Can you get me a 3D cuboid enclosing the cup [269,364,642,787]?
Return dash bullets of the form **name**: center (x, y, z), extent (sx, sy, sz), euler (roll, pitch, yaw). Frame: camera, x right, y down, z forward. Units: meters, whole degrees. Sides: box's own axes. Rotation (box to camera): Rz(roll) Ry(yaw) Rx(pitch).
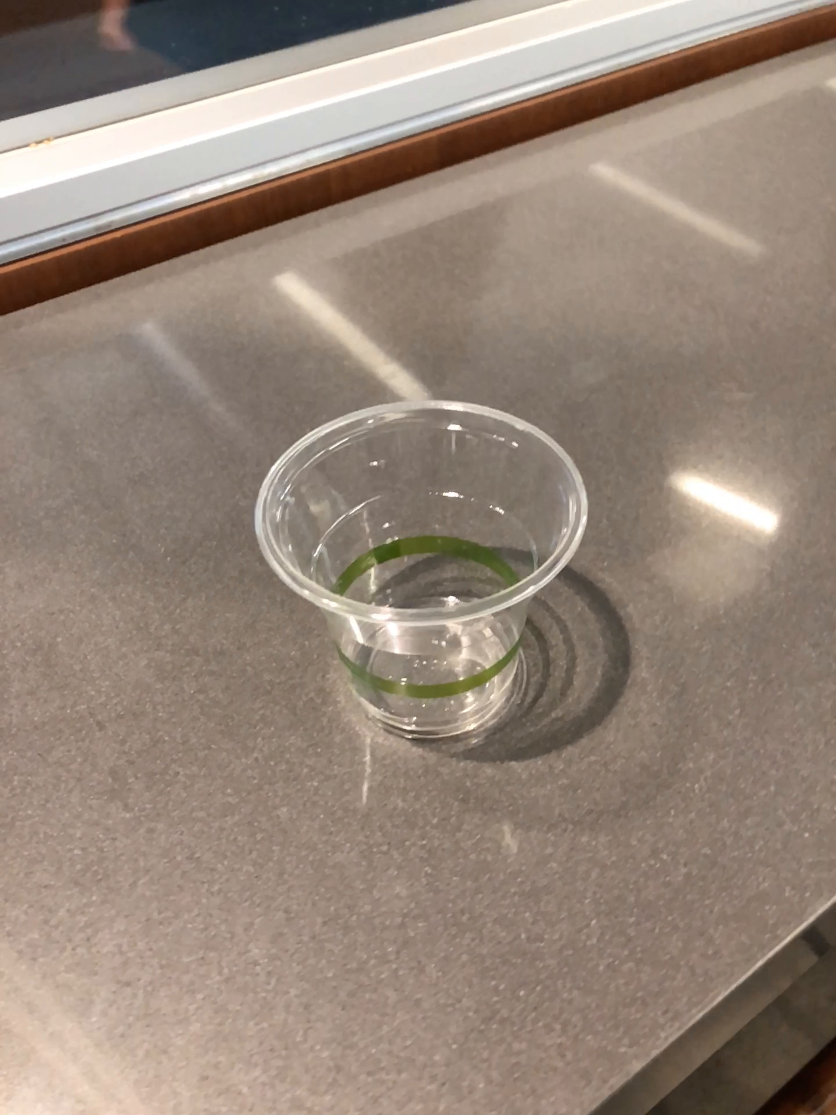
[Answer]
- **cup**: center (0.005, 0.003, 0.223), extent (0.070, 0.060, 0.070), euler (-3, 43, 3)
